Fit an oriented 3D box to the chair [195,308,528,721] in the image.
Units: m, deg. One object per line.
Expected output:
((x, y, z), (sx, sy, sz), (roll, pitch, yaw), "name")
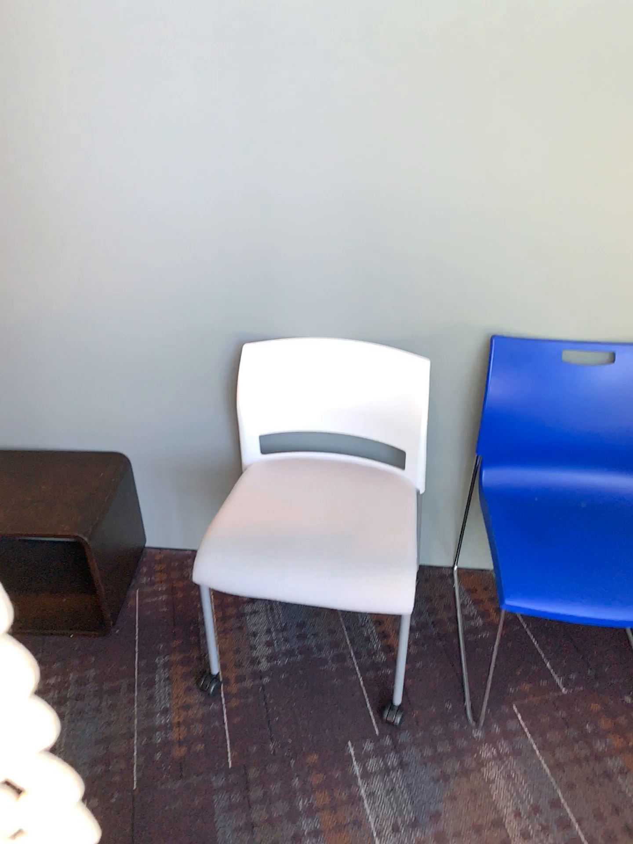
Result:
((0.033, 0.223, 1.573), (0.590, 0.796, 0.563), (3, 31, -5), "chair")

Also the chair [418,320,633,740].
((0.597, 0.235, 1.642), (0.590, 0.796, 0.623), (3, 27, 5), "chair")
